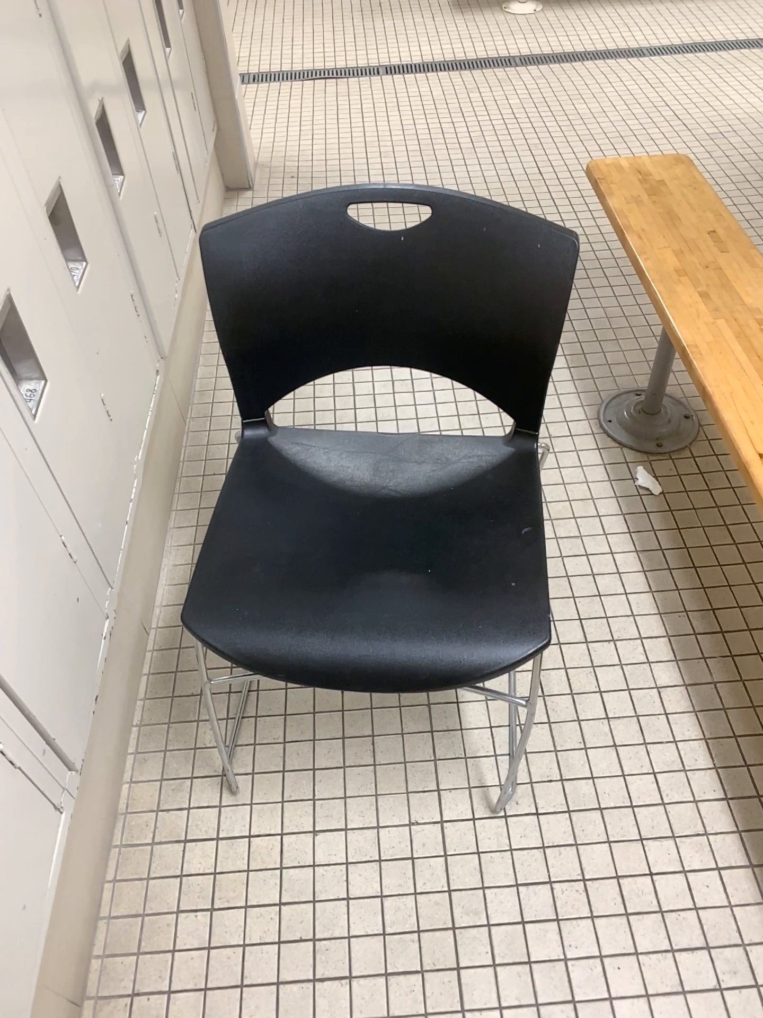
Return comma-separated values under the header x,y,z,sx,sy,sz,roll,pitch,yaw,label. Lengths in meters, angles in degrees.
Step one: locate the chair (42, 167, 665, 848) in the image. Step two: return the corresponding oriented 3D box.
x,y,z,sx,sy,sz,roll,pitch,yaw,label
0.011,-0.002,1.021,0.475,0.631,0.615,3,47,5,chair
